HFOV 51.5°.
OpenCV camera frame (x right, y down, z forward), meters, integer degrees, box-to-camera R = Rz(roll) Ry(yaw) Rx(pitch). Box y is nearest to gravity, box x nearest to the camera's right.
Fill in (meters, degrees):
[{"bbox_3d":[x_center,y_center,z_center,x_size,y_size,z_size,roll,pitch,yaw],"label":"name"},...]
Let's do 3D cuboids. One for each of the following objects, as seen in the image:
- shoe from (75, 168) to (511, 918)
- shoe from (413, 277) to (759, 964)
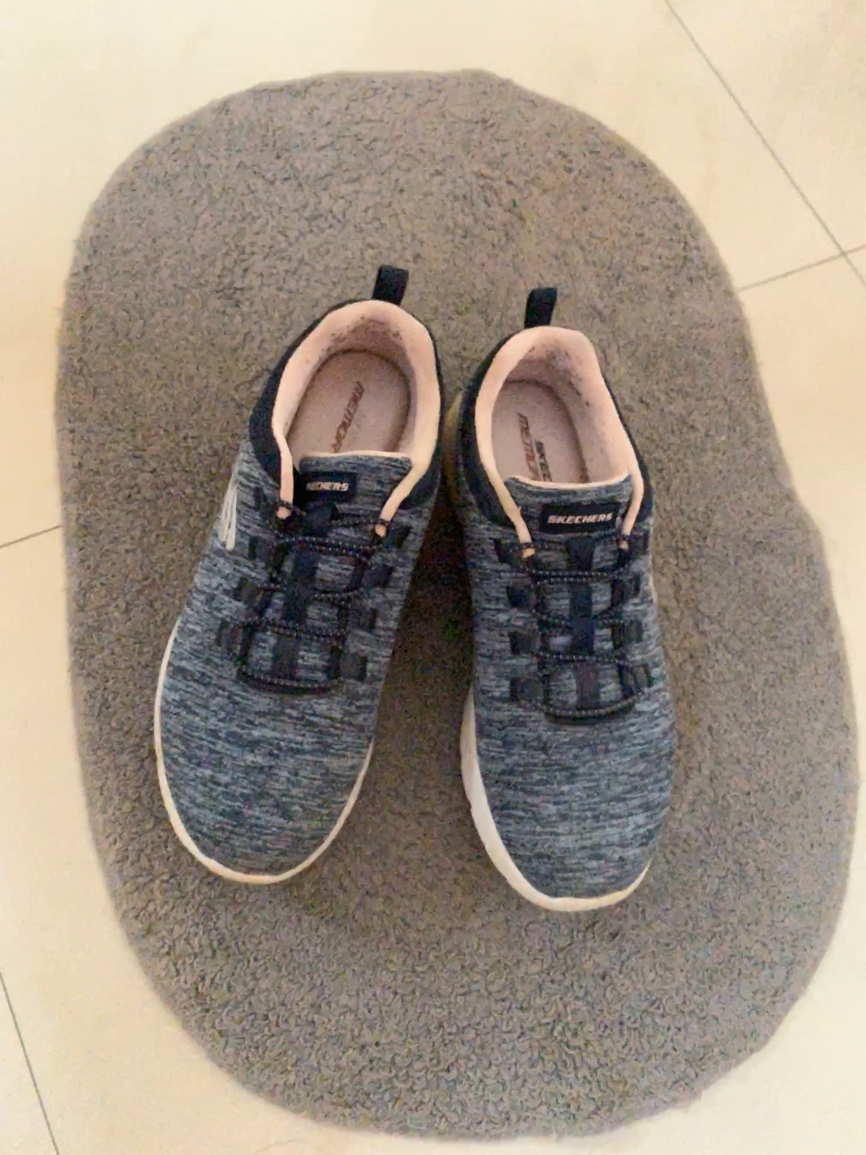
[{"bbox_3d":[-0.044,-0.015,0.362,0.090,0.100,0.271,13,68,-5],"label":"shoe"},{"bbox_3d":[0.053,0.014,0.416,0.100,0.100,0.291,-2,70,-7],"label":"shoe"}]
